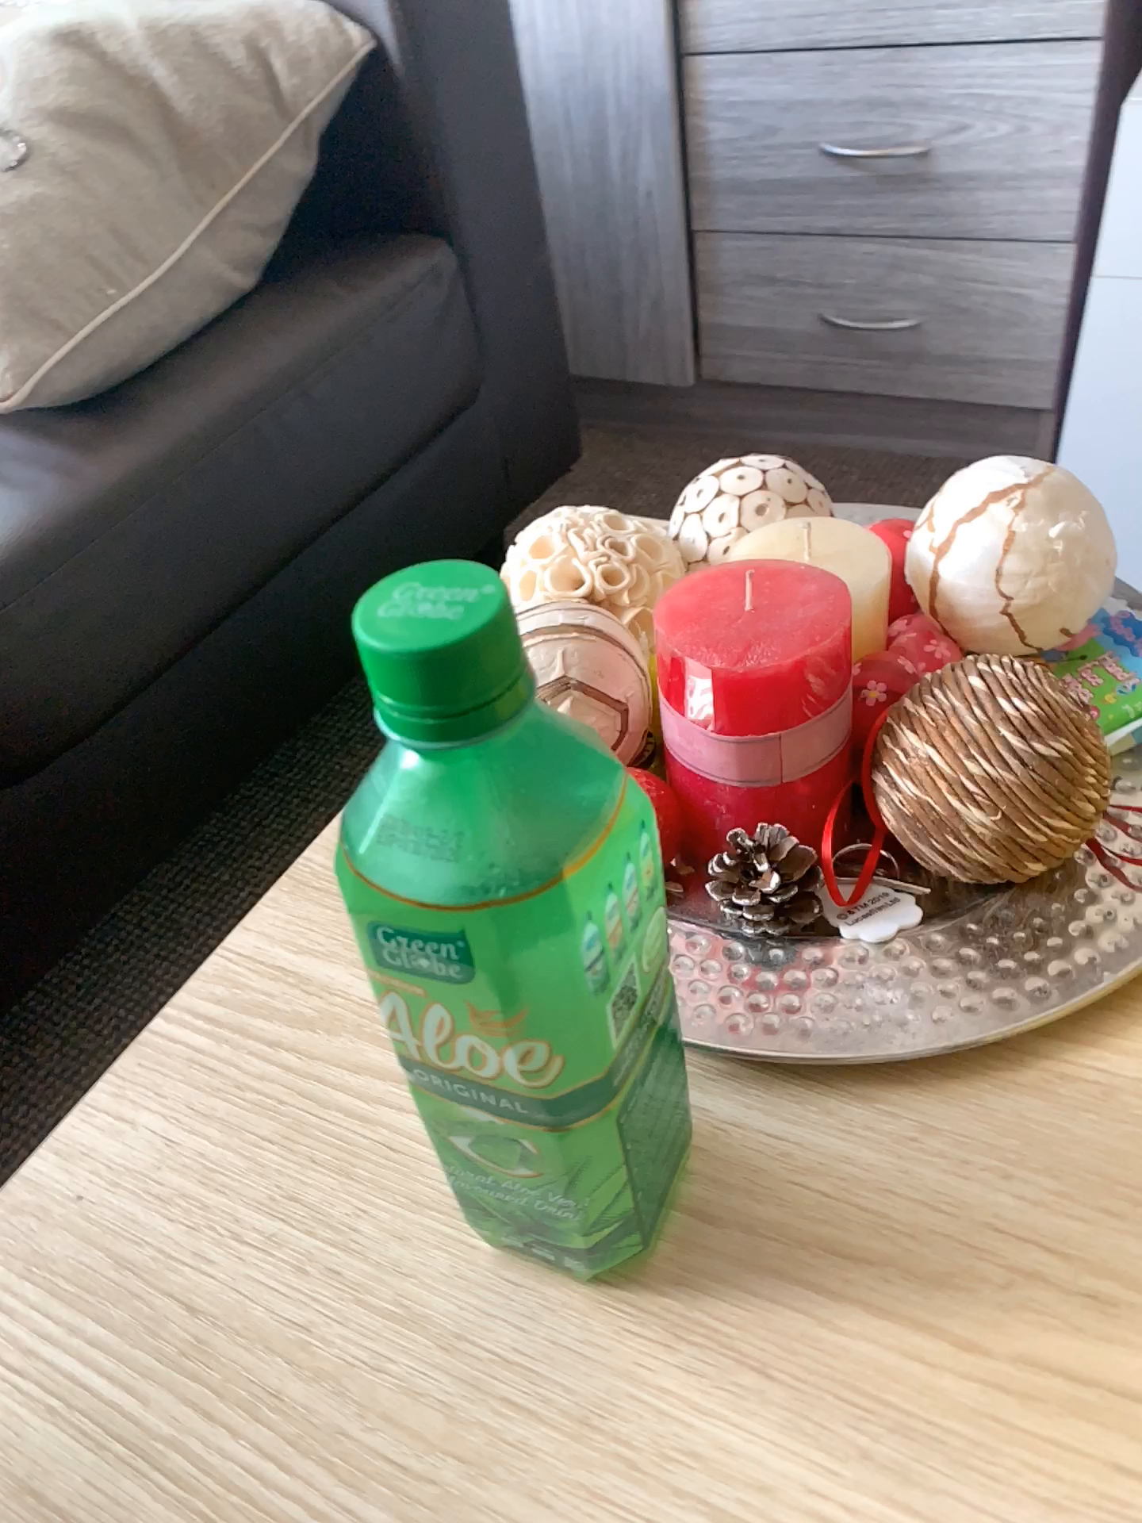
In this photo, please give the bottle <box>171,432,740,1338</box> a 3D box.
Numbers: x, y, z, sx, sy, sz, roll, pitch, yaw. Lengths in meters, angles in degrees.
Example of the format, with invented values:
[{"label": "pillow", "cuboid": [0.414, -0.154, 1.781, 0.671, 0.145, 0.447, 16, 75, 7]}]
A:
[{"label": "bottle", "cuboid": [-0.008, 0.042, 0.279, 0.070, 0.218, 0.071, -6, 40, 5]}]
